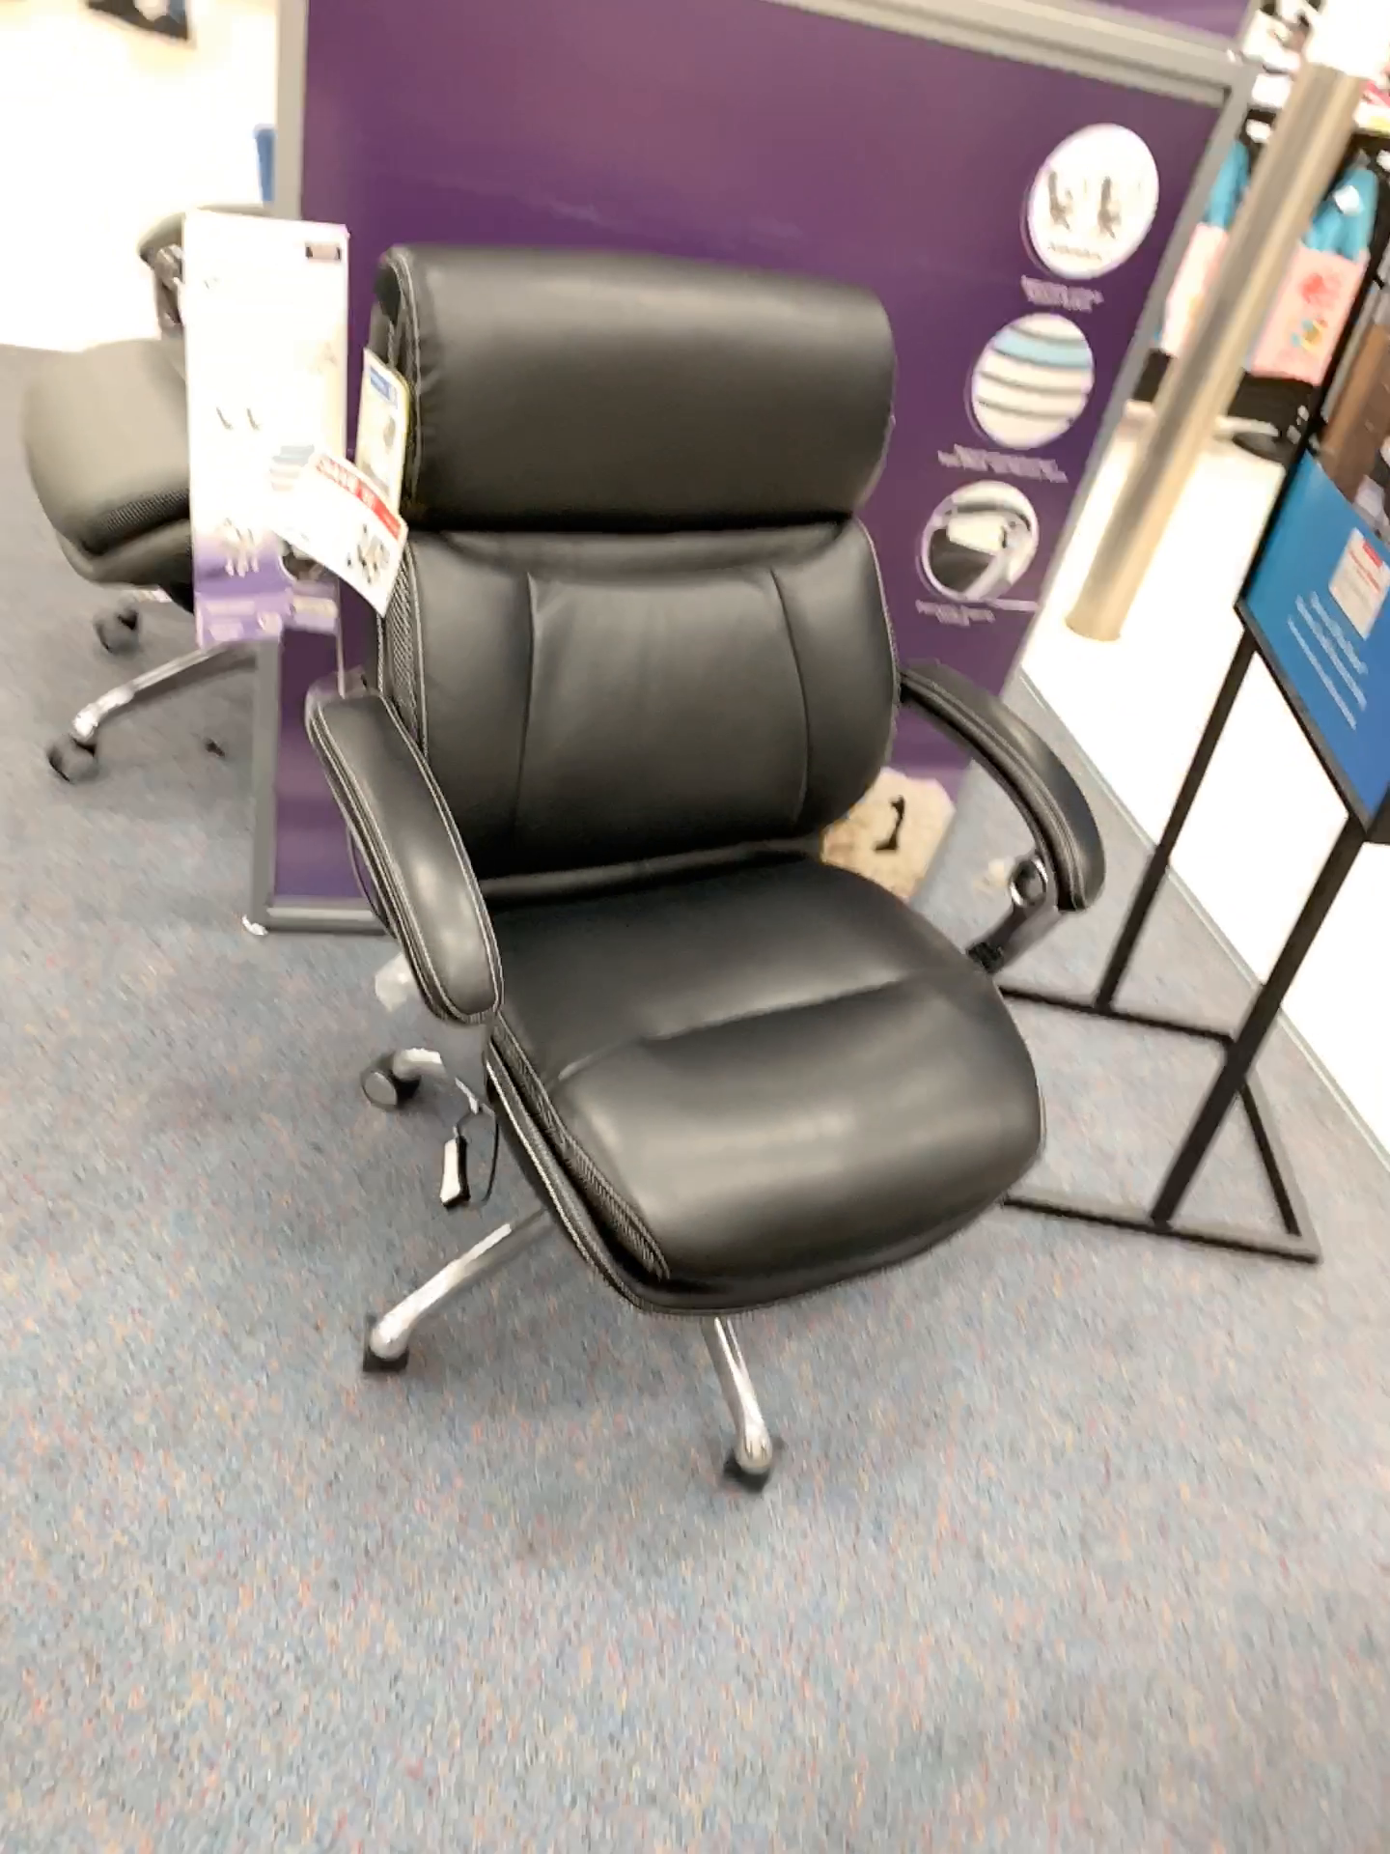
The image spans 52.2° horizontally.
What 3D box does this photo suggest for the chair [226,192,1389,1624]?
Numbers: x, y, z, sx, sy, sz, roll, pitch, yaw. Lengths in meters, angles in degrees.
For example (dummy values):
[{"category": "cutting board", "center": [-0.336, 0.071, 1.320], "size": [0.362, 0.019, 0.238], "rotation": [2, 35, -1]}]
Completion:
[{"category": "chair", "center": [0.017, -0.046, 1.386], "size": [0.739, 0.946, 0.784], "rotation": [-8, 43, -28]}]
